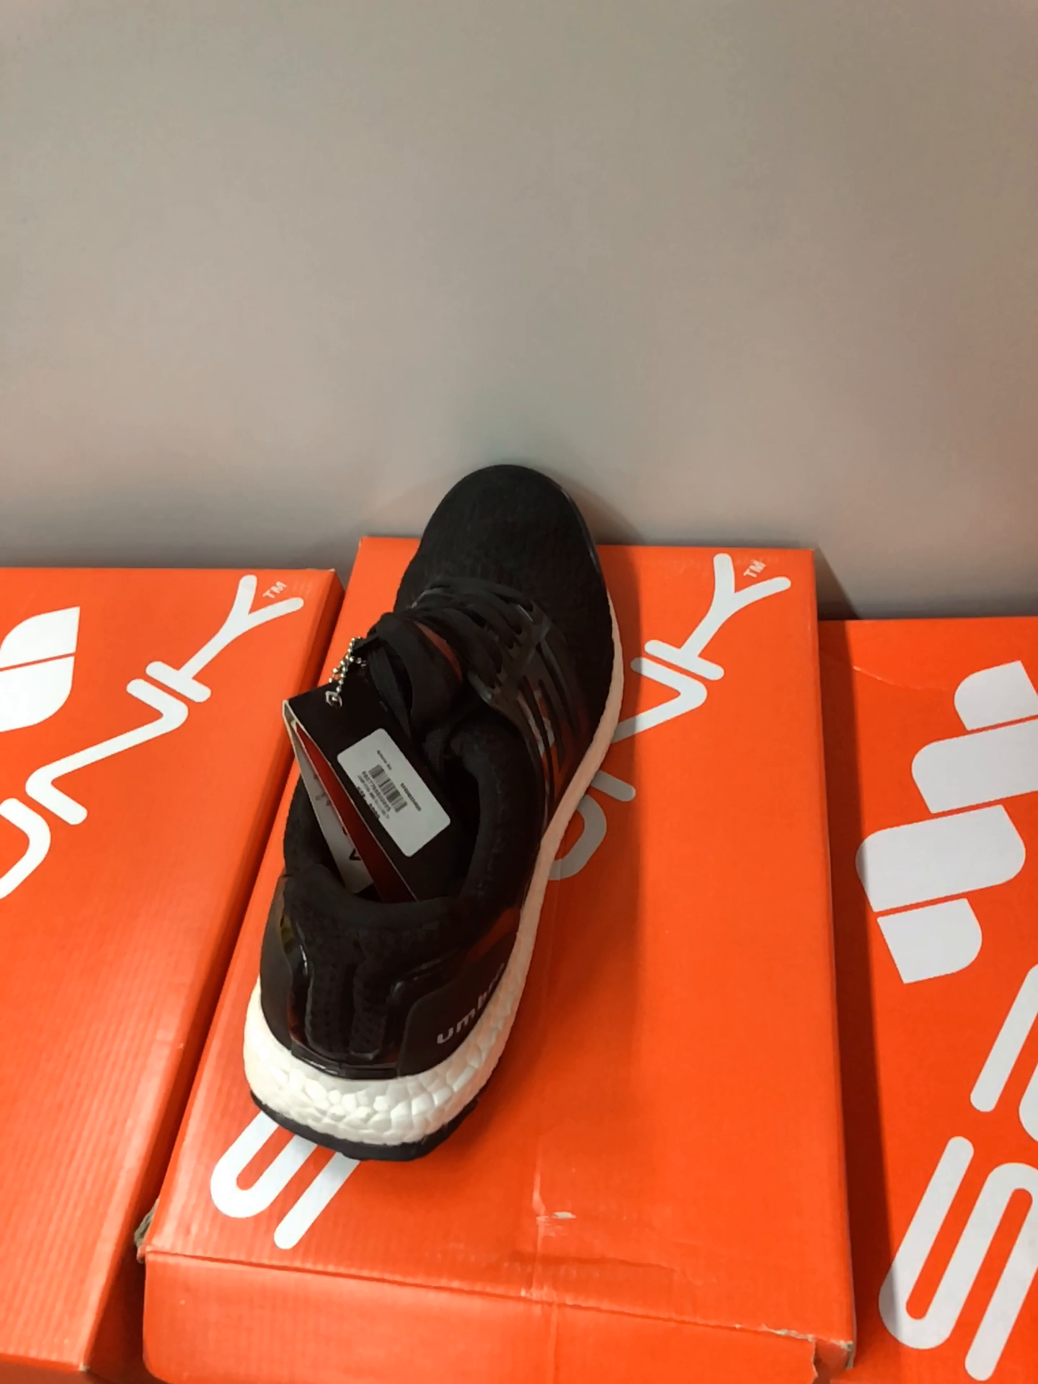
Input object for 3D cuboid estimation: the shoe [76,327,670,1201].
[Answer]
[{"bbox_3d":[-0.025,0.009,0.423,0.117,0.120,0.290,8,54,10],"label":"shoe"}]
